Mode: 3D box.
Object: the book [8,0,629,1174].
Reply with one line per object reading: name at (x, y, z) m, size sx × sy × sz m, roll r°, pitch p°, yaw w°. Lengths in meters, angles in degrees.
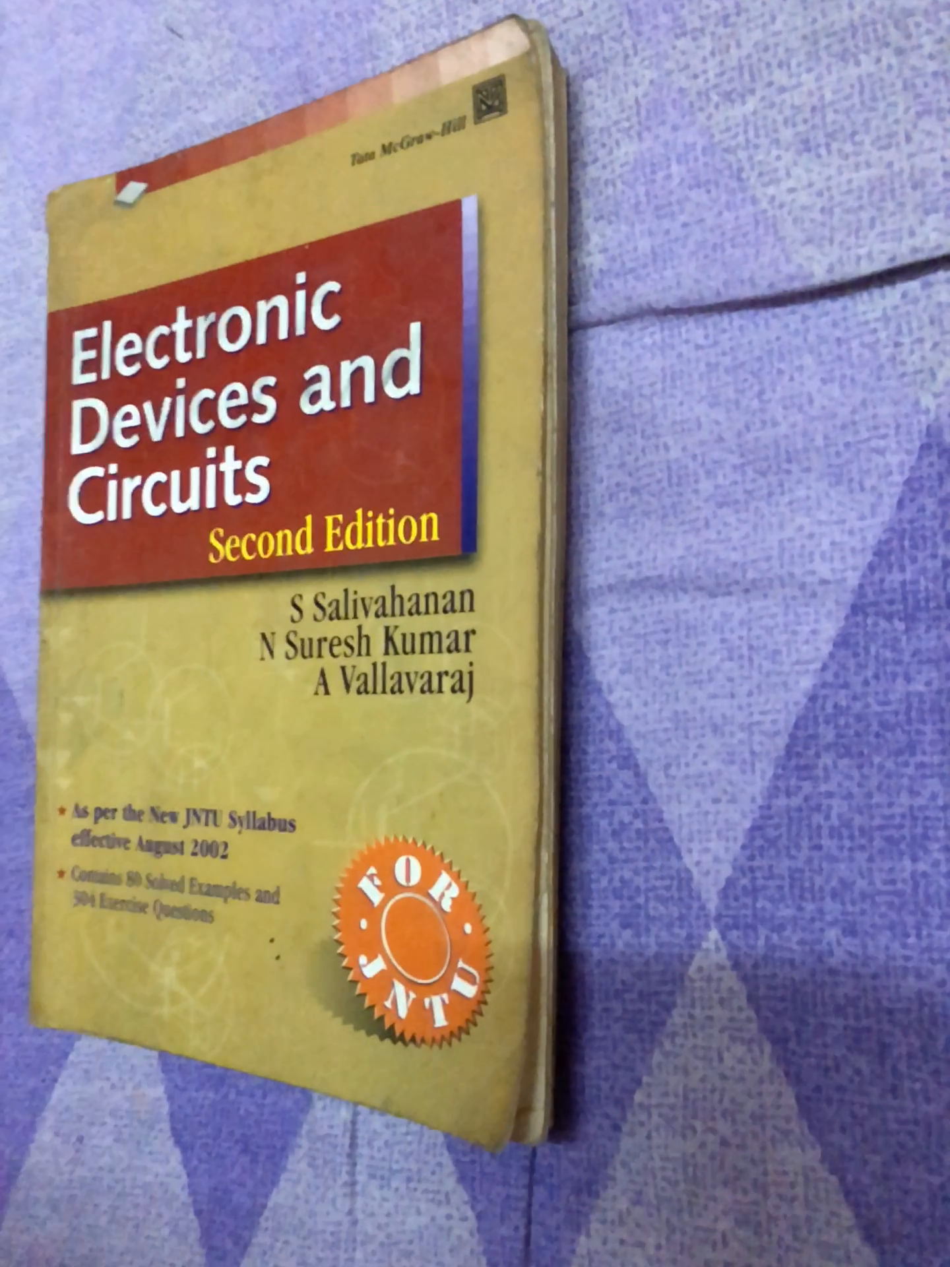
book at (-0.046, -0.014, 0.266) m, size 0.160 × 0.040 × 0.240 m, roll -3°, pitch 86°, yaw 31°
